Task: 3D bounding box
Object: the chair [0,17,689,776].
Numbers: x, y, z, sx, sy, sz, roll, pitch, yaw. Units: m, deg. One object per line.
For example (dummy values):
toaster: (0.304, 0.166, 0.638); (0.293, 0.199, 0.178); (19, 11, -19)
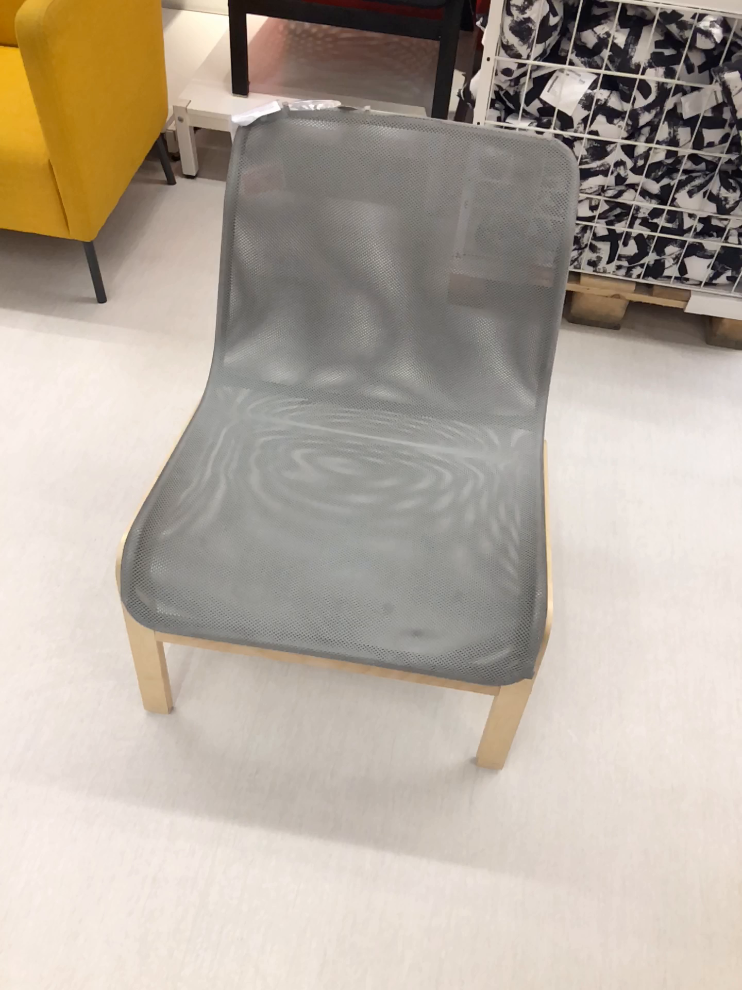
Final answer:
chair: (-0.021, -0.099, 1.208); (0.630, 0.825, 0.644); (9, 51, 3)
